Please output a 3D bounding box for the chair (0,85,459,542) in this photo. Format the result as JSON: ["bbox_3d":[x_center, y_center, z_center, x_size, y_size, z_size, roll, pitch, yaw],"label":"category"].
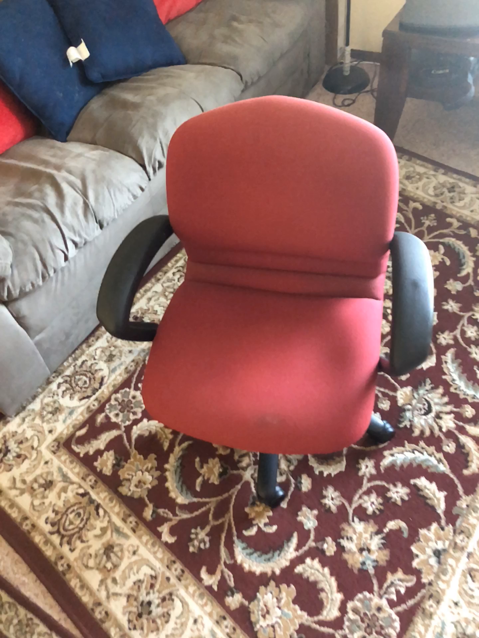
[{"bbox_3d":[0.059,0.001,1.171,0.650,0.730,0.620,8,54,14],"label":"chair"}]
